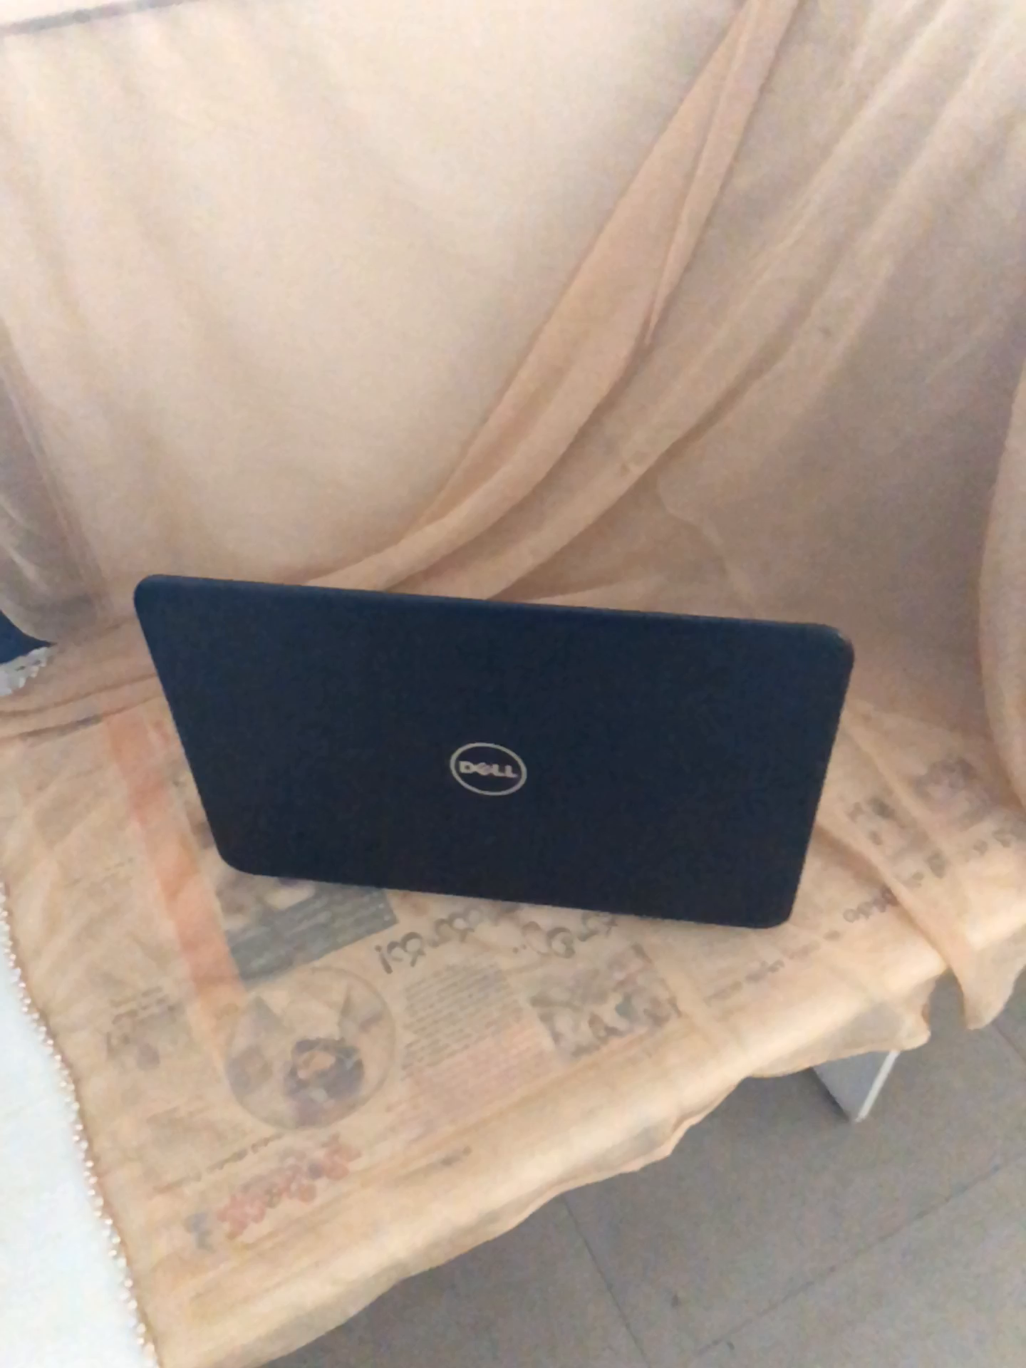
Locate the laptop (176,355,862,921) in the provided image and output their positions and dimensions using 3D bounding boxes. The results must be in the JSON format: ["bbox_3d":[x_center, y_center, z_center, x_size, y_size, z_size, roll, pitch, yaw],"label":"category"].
[{"bbox_3d":[0.013,-0.037,0.718,0.332,0.238,0.257,4,45,7],"label":"laptop"}]
